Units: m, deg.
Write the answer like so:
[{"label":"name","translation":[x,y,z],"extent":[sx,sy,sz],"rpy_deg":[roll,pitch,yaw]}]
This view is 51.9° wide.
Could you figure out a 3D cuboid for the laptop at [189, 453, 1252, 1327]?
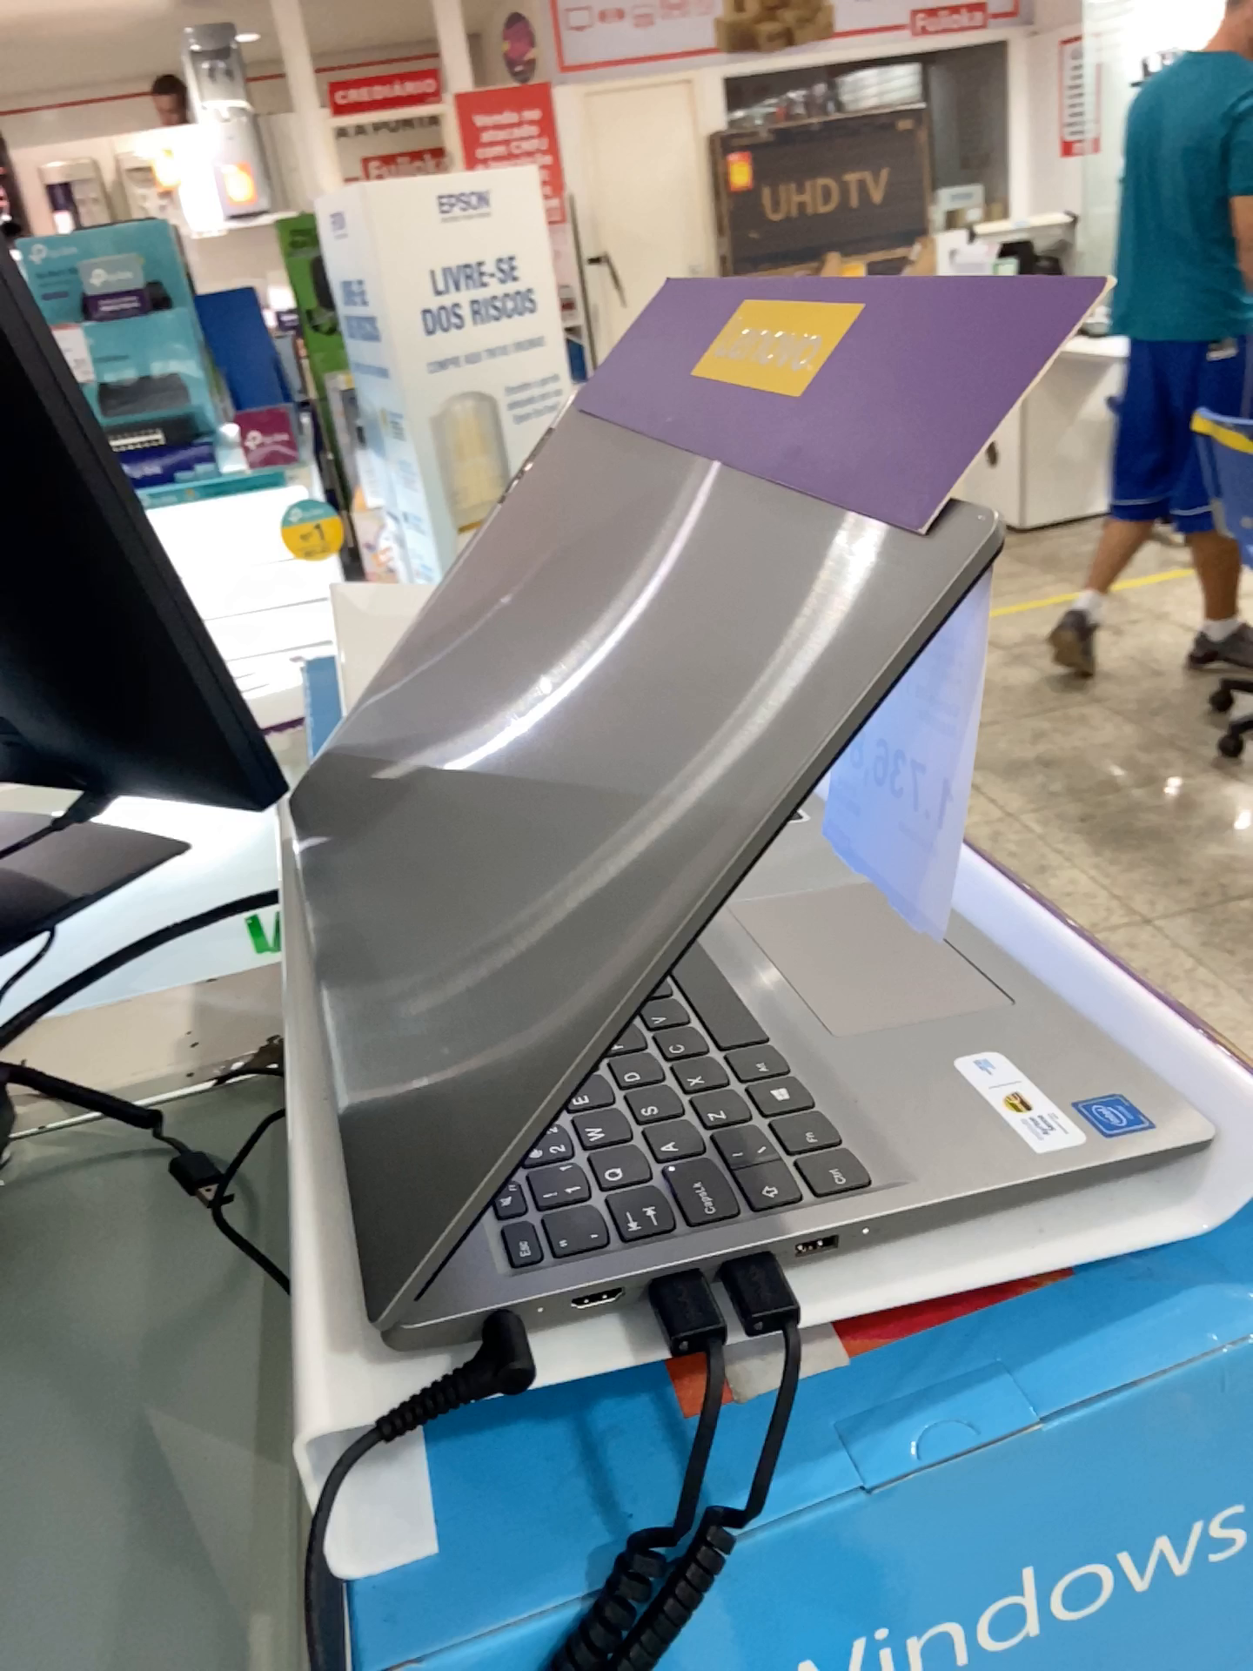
[{"label":"laptop","translation":[-0.006,-0.034,0.467],"extent":[0.243,0.161,0.358],"rpy_deg":[-10,23,-14]}]
